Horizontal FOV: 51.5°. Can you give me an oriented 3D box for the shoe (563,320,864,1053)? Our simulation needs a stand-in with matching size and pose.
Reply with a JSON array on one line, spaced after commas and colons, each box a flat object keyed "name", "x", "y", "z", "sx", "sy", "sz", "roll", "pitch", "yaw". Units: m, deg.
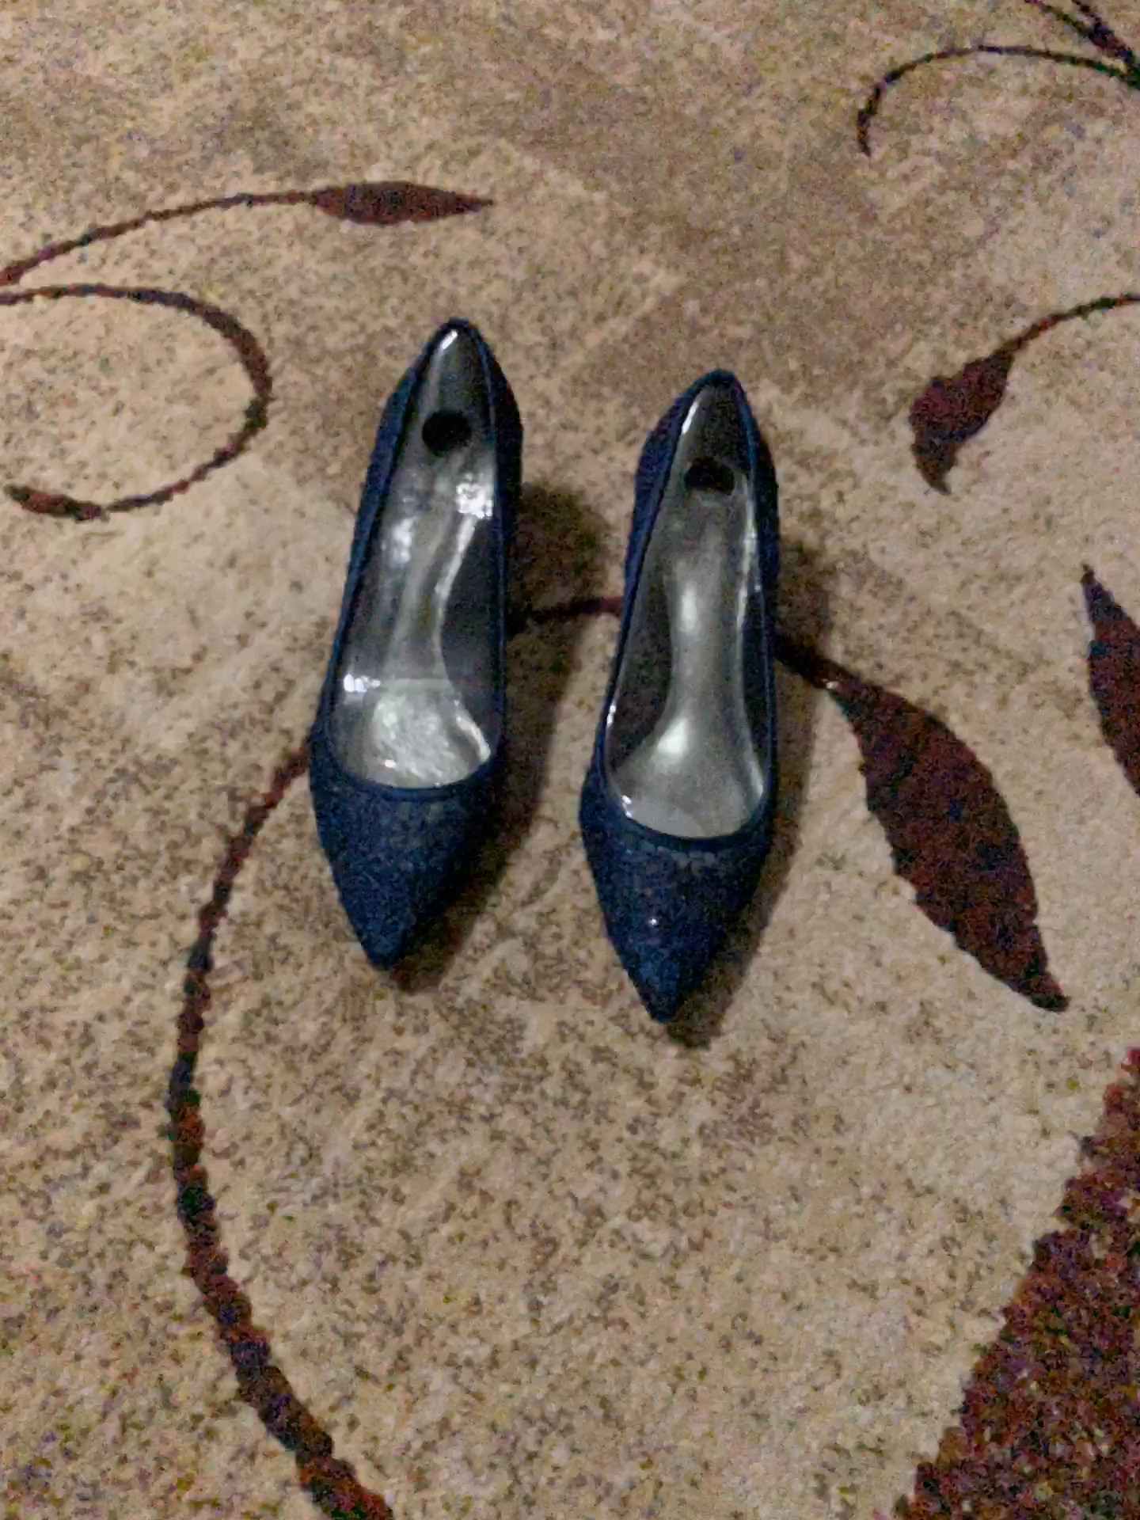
[{"name": "shoe", "x": 0.052, "y": -0.038, "z": 0.476, "sx": 0.088, "sy": 0.088, "sz": 0.285, "roll": 5, "pitch": 62, "yaw": -3}]

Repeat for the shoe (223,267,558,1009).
[{"name": "shoe", "x": -0.060, "y": -0.058, "z": 0.479, "sx": 0.088, "sy": 0.088, "sz": 0.294, "roll": 5, "pitch": 62, "yaw": -3}]
